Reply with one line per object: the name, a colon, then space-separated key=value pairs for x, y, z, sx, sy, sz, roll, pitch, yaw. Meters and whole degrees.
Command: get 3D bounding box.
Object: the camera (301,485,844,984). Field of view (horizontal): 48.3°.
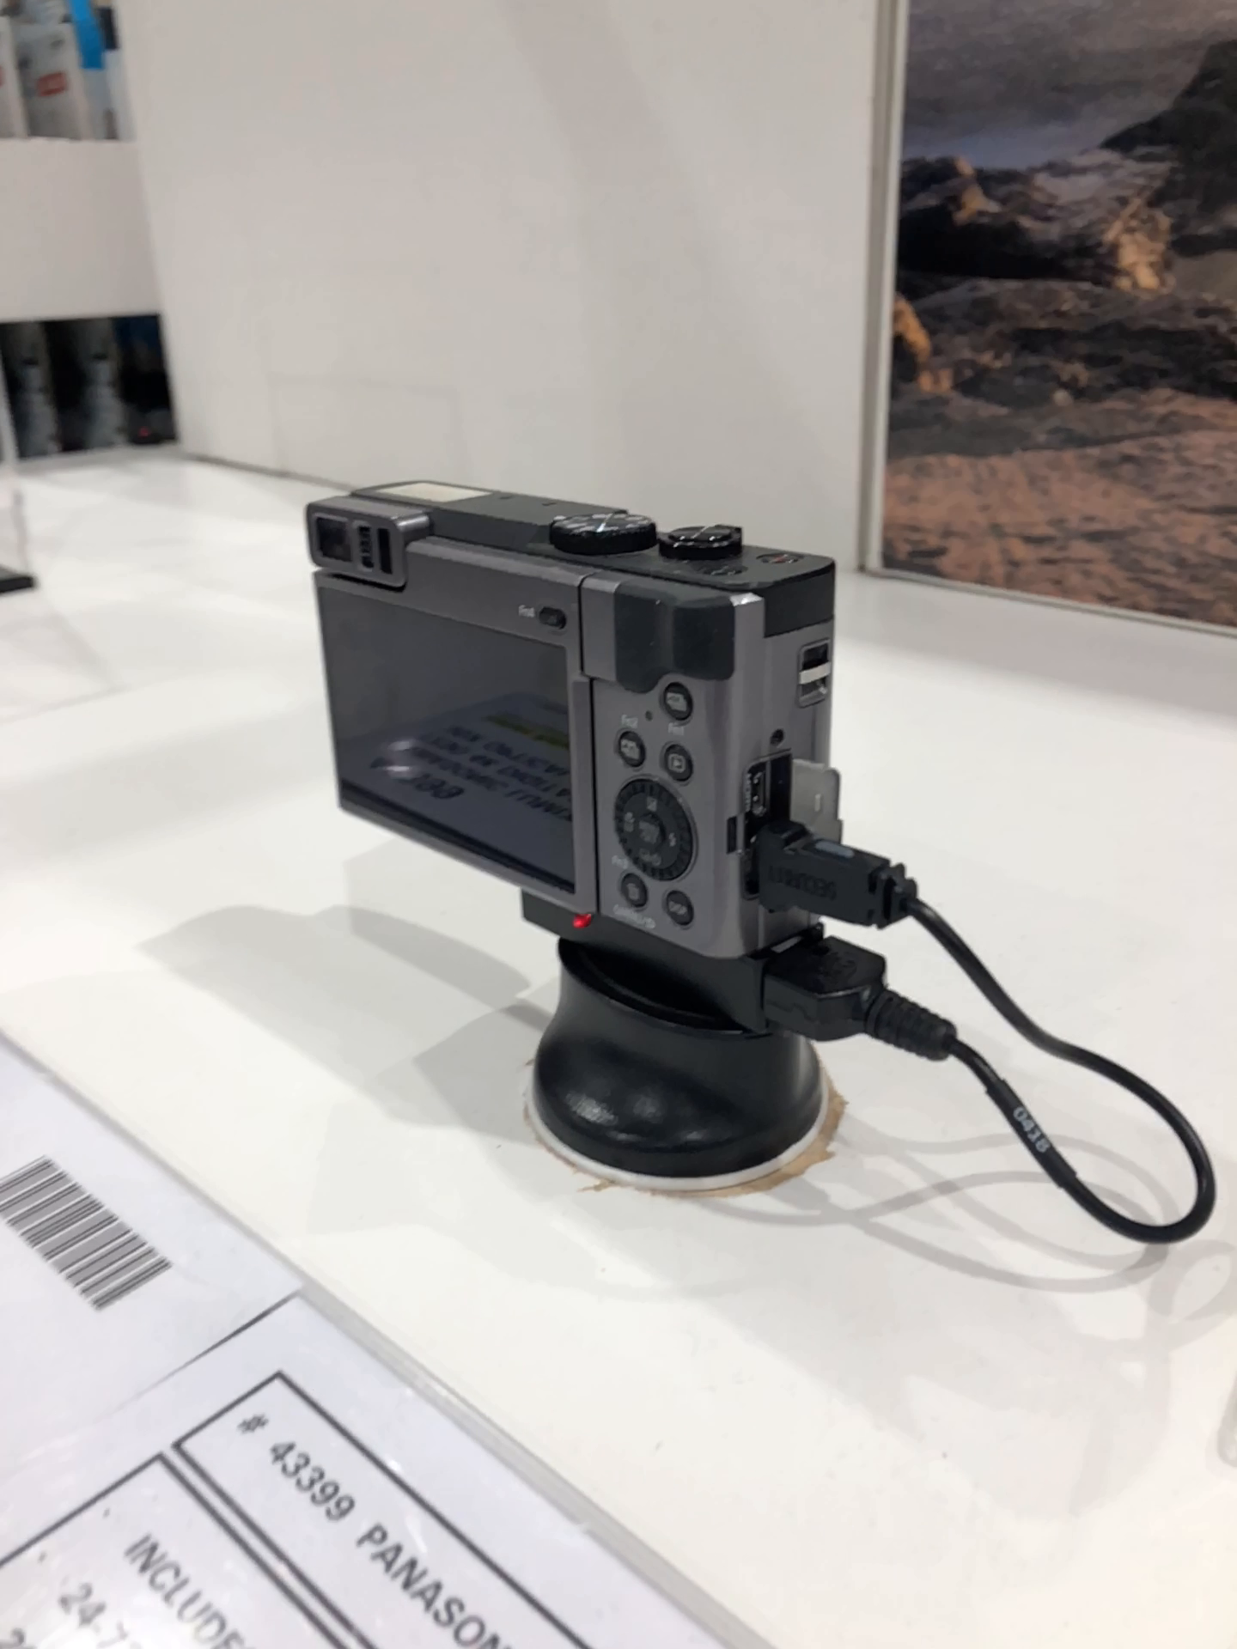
camera: x=-0.012 y=-0.022 z=0.255 sx=0.107 sy=0.065 sz=0.030 roll=20 pitch=30 yaw=41
